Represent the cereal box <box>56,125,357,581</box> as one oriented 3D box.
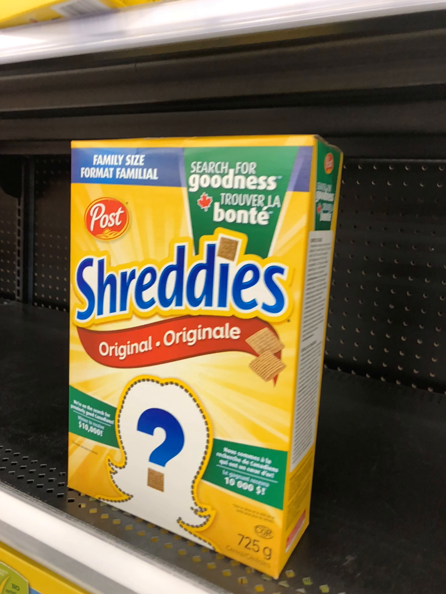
[{"bbox_3d":[-0.025,0.026,0.383,0.210,0.289,0.070,9,10,28],"label":"cereal box"}]
